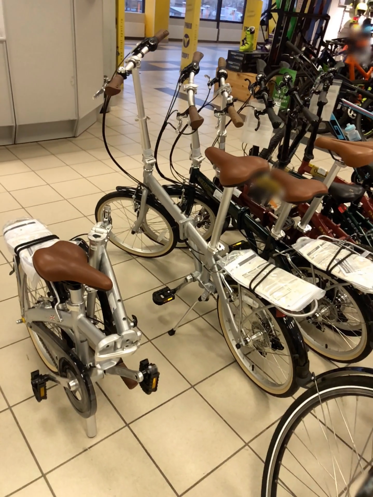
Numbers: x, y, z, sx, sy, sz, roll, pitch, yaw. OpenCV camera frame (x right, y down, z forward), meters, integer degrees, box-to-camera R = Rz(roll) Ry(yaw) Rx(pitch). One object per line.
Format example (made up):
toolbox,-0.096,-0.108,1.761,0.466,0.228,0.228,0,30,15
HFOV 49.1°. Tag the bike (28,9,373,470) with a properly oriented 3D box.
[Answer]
bike,-0.049,-0.184,1.601,0.554,1.153,1.363,-17,38,-34

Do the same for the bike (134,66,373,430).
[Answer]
bike,0.325,-0.135,1.728,0.558,1.037,1.142,-19,38,-37
